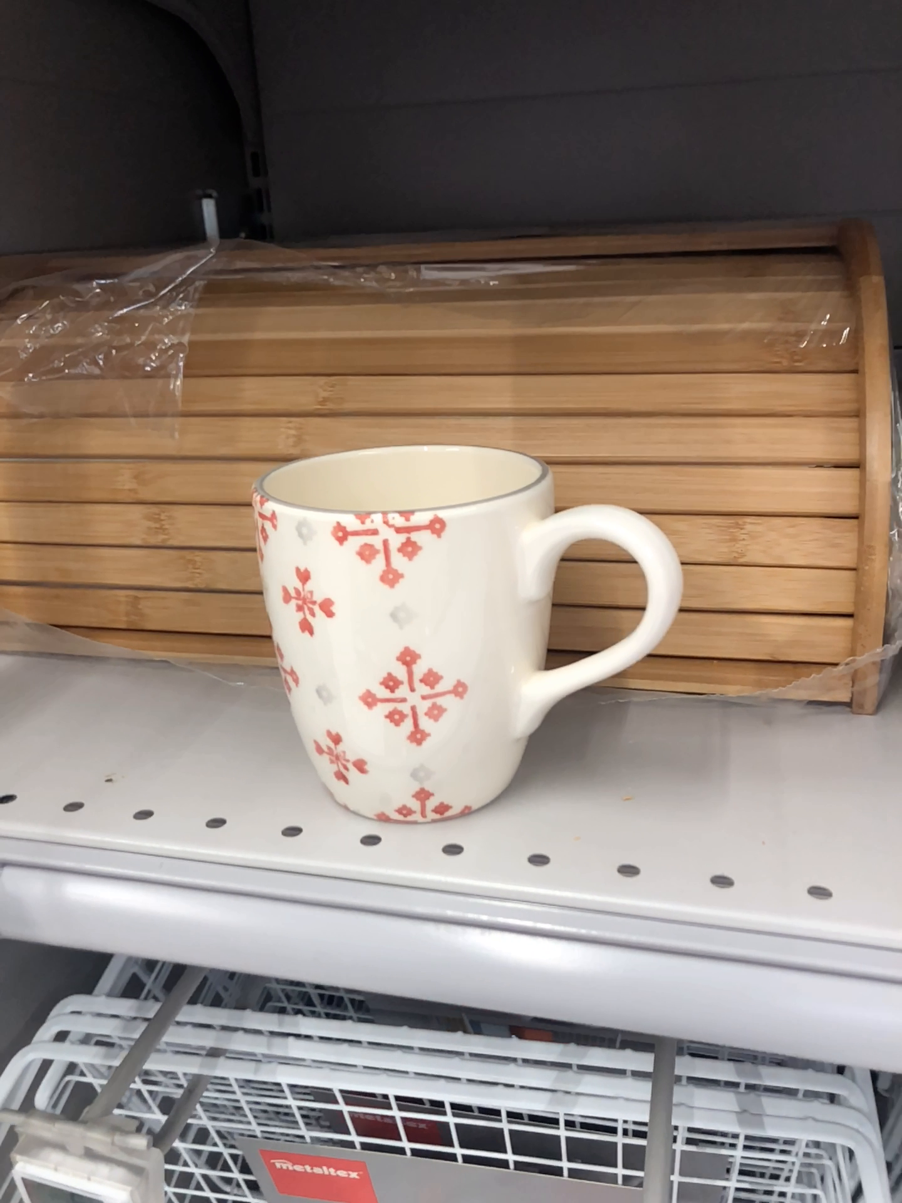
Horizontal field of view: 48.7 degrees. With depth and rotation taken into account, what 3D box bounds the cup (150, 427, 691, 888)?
[{"bbox_3d":[-0.005,0.005,0.297,0.124,0.089,0.090,9,24,28],"label":"cup"}]
